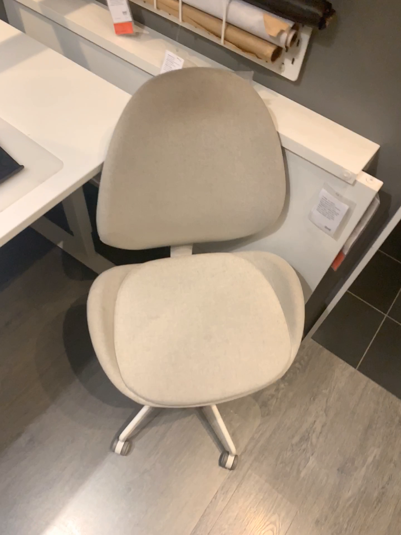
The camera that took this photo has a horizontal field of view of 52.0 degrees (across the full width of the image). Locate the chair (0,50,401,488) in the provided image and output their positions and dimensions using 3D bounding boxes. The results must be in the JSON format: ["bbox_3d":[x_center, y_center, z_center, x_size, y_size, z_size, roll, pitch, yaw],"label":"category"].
[{"bbox_3d":[0.003,0.125,0.972,0.610,0.938,0.591,0,57,-6],"label":"chair"}]
